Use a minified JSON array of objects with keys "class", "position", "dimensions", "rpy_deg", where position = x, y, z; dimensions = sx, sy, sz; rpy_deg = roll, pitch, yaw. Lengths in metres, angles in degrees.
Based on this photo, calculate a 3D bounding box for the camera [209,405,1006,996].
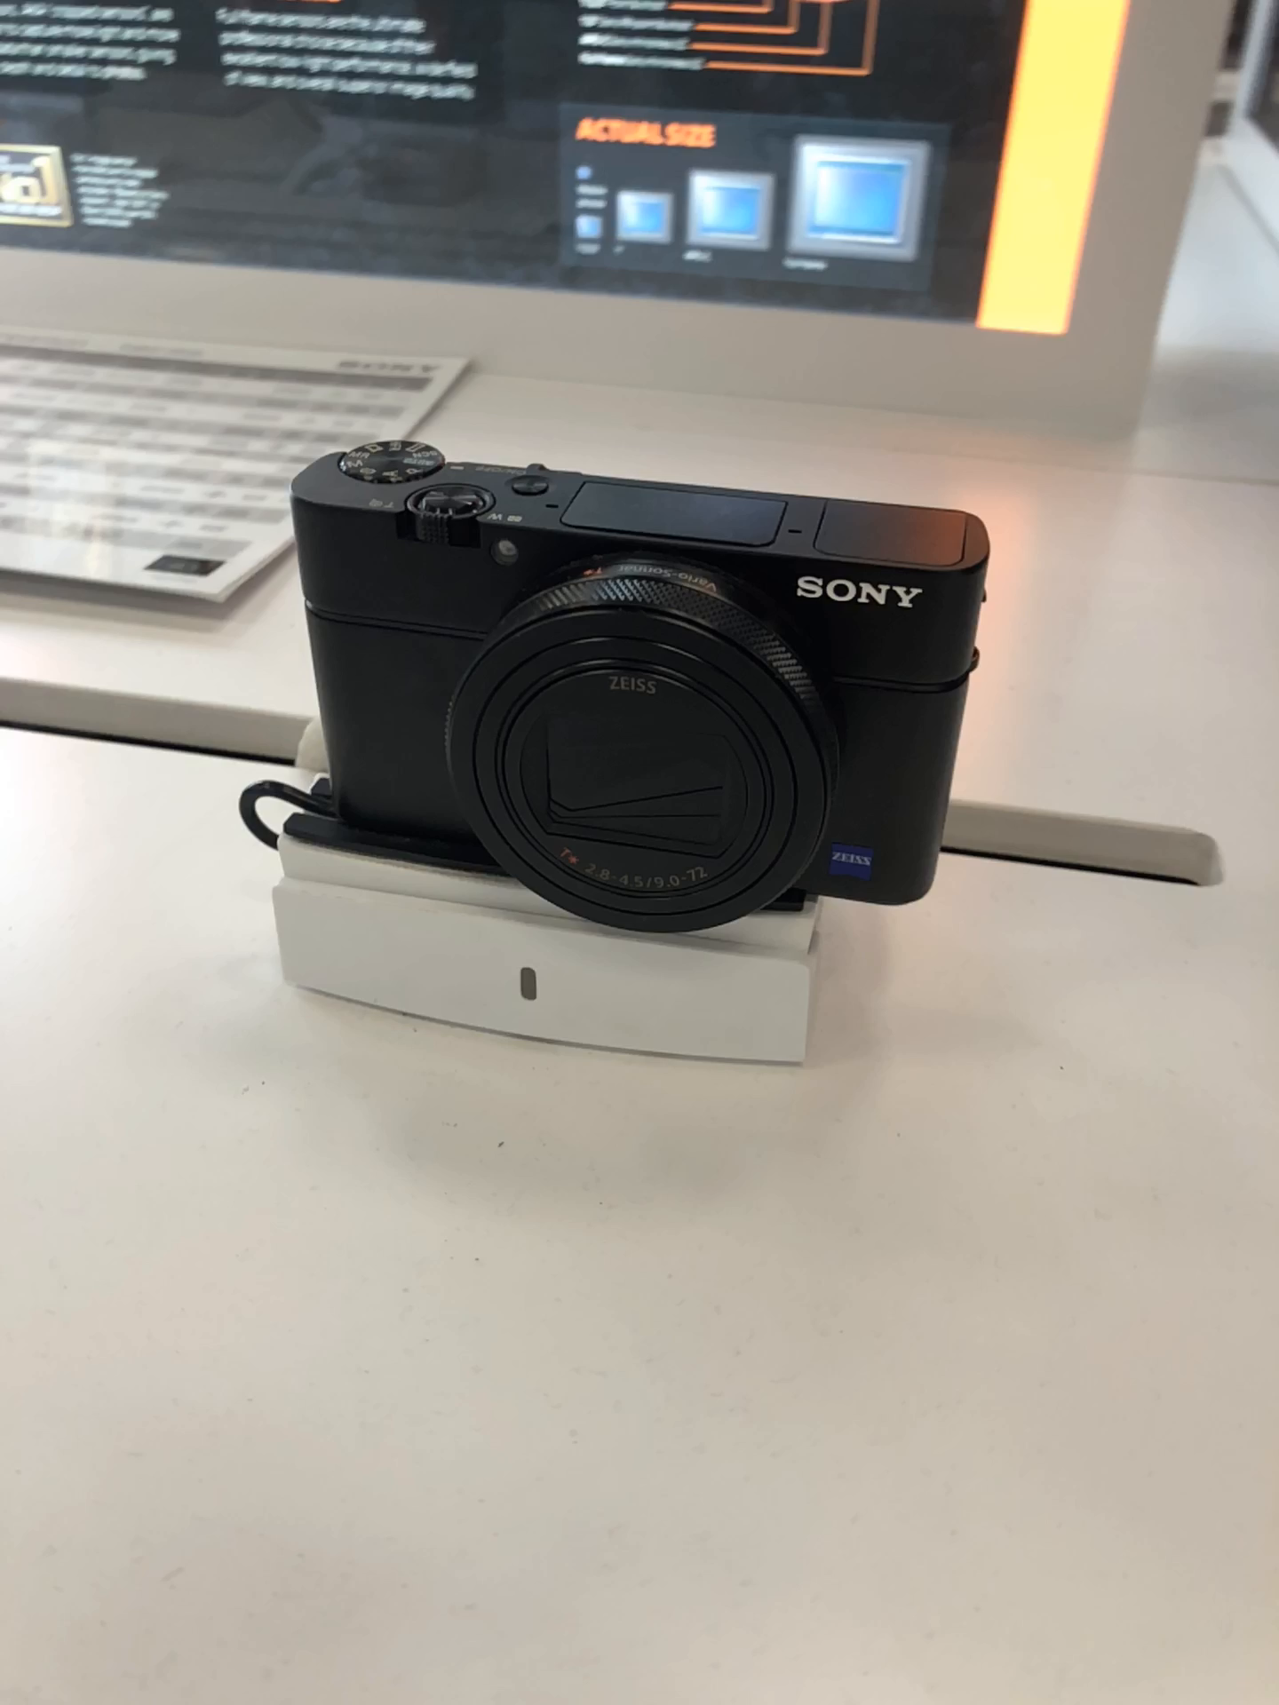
[{"class":"camera","position":[-0.004,-0.025,0.230],"dimensions":[0.110,0.070,0.040],"rpy_deg":[9,36,9]}]
